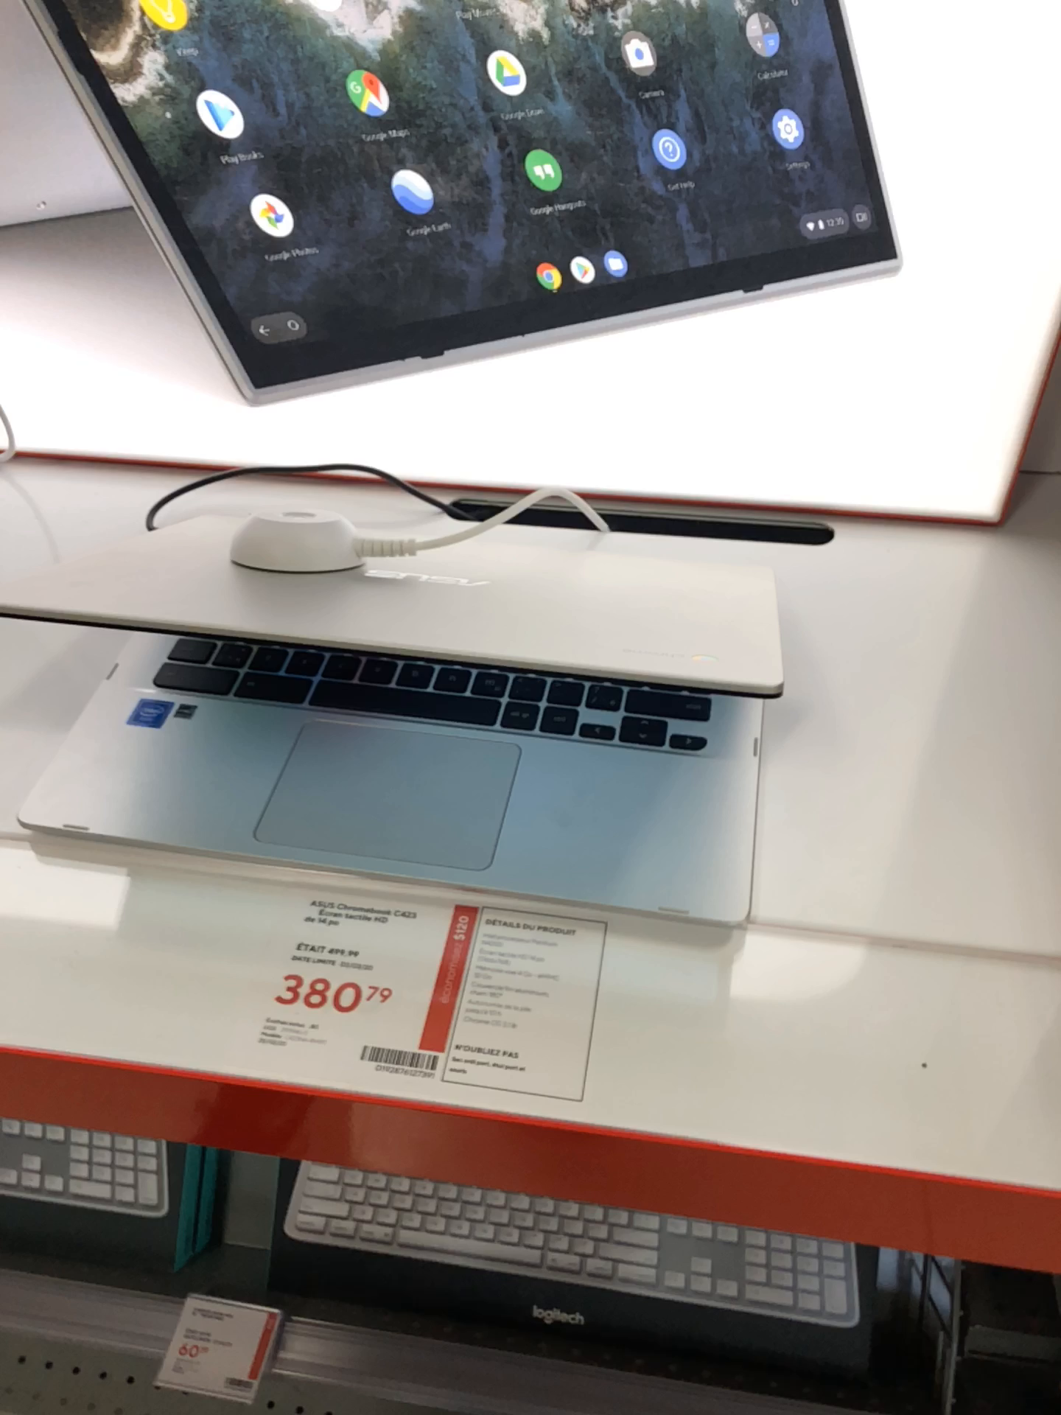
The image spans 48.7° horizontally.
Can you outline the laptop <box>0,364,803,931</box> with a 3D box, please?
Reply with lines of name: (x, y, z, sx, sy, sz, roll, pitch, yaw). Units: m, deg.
laptop: (-0.051, -0.043, 0.522, 0.317, 0.100, 0.226, 7, 44, 9)
